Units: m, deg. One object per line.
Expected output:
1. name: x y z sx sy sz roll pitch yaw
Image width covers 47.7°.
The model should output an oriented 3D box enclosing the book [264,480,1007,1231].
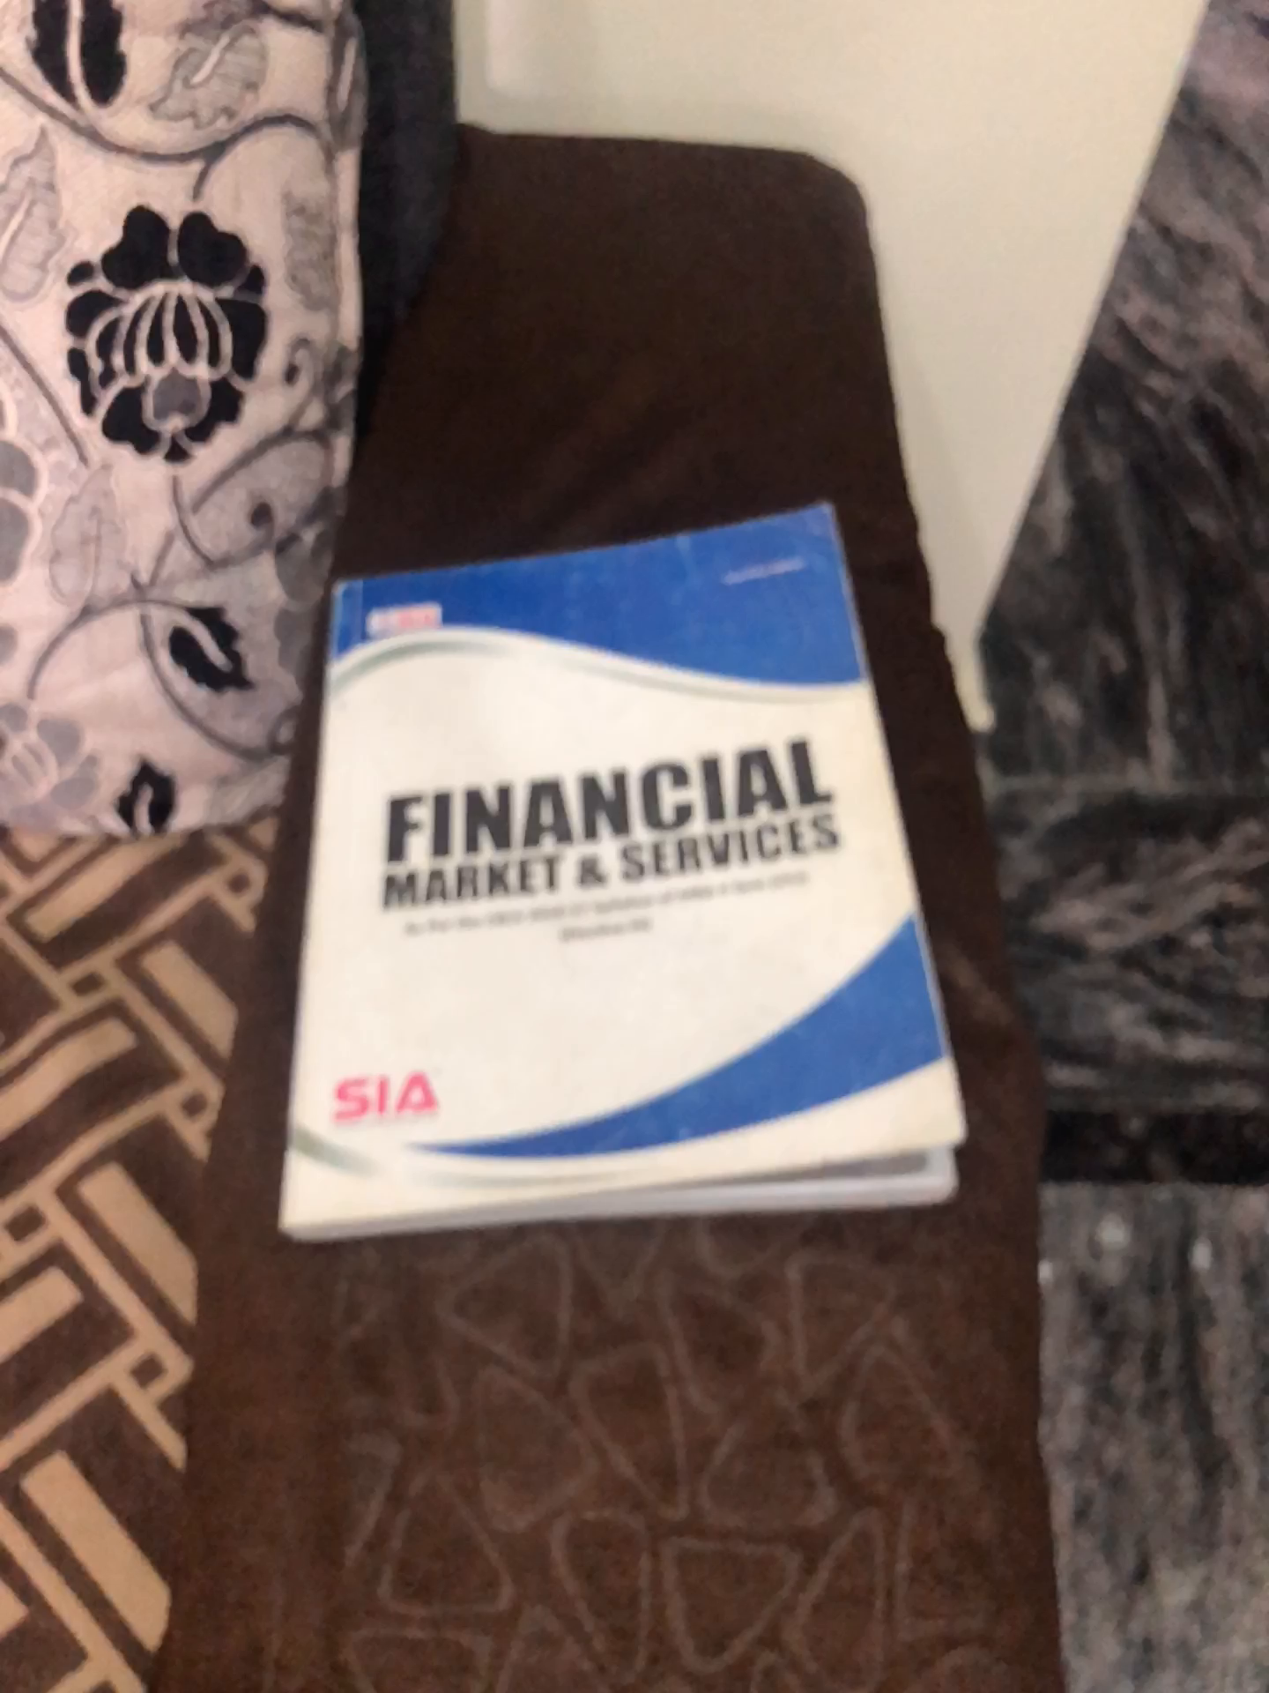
1. book: -0.012 -0.018 0.528 0.220 0.040 0.301 -3 54 -5
